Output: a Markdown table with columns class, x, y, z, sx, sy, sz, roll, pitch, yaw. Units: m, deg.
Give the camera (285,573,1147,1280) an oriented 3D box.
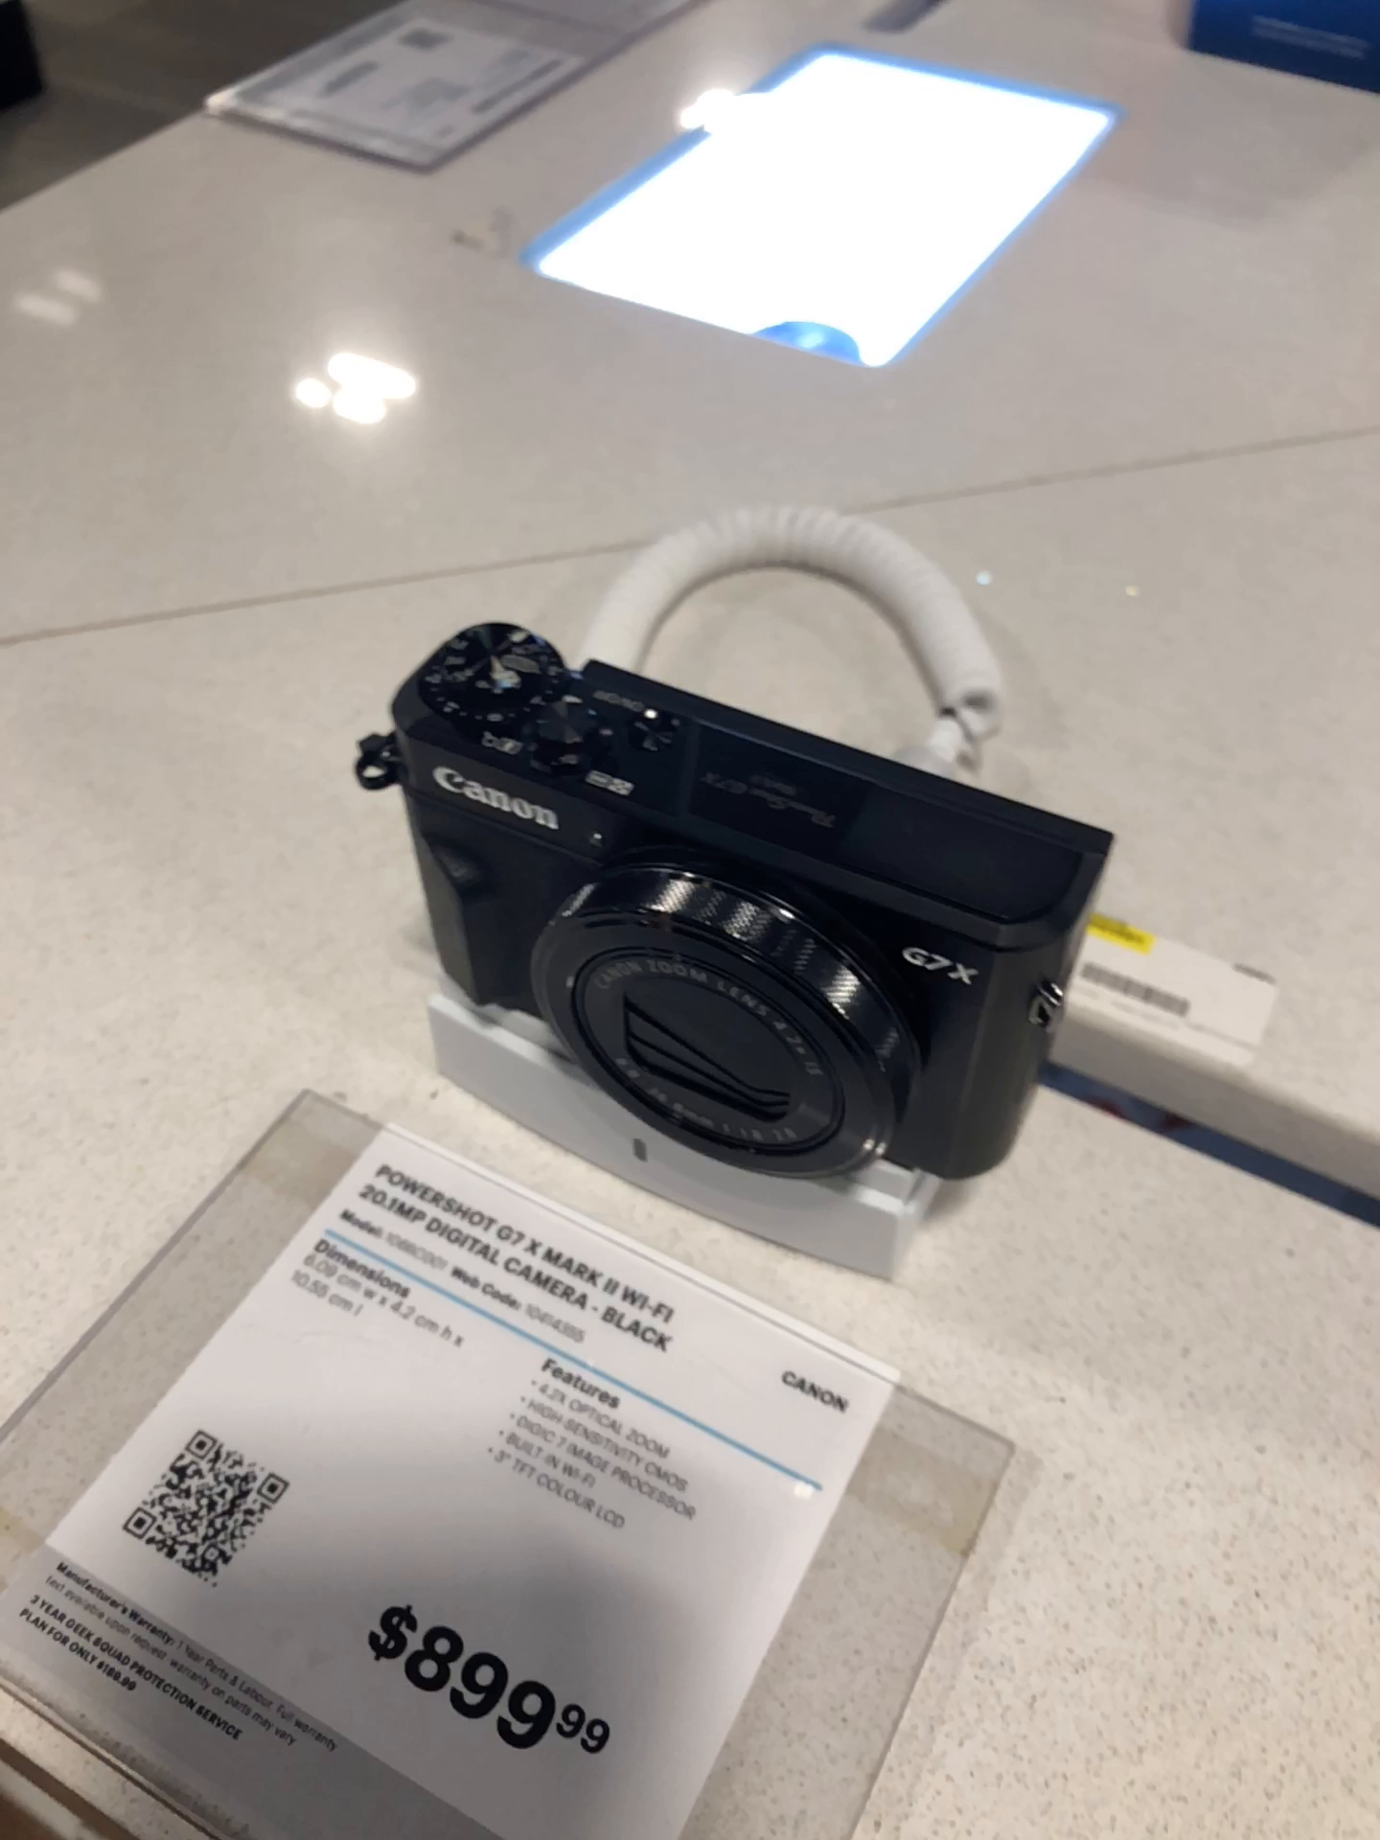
| class | x | y | z | sx | sy | sz | roll | pitch | yaw |
| --- | --- | --- | --- | --- | --- | --- | --- | --- | --- |
| camera | 0.002 | -0.001 | 0.230 | 0.110 | 0.060 | 0.040 | 22 | 51 | 17 |
